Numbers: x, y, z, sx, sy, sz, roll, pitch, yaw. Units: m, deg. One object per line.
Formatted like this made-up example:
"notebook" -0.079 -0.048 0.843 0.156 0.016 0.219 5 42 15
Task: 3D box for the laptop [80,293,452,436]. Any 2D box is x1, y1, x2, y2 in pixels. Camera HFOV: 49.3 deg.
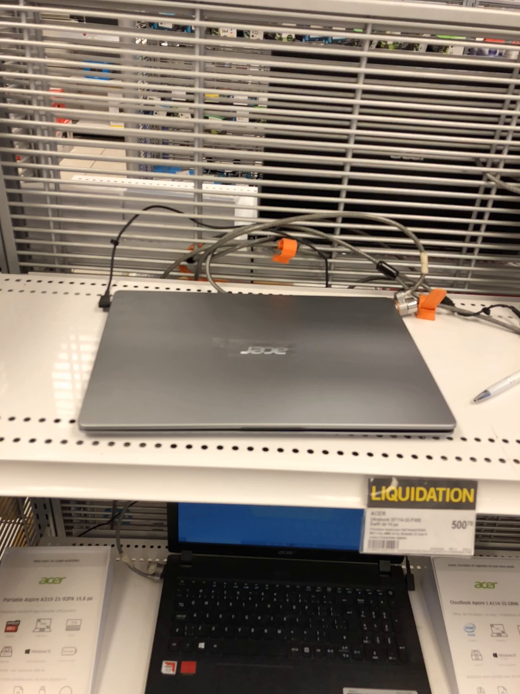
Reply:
"laptop" 0.003 0.008 0.570 0.315 0.006 0.220 1 36 -5
